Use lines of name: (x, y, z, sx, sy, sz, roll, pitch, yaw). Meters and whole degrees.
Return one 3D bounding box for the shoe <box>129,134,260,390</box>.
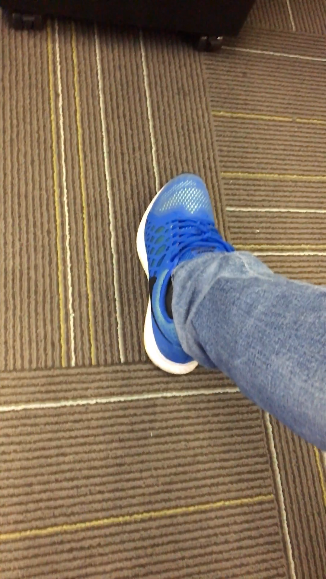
shoe: (0.031, -0.032, 0.606, 0.120, 0.110, 0.290, 6, 67, -14)
